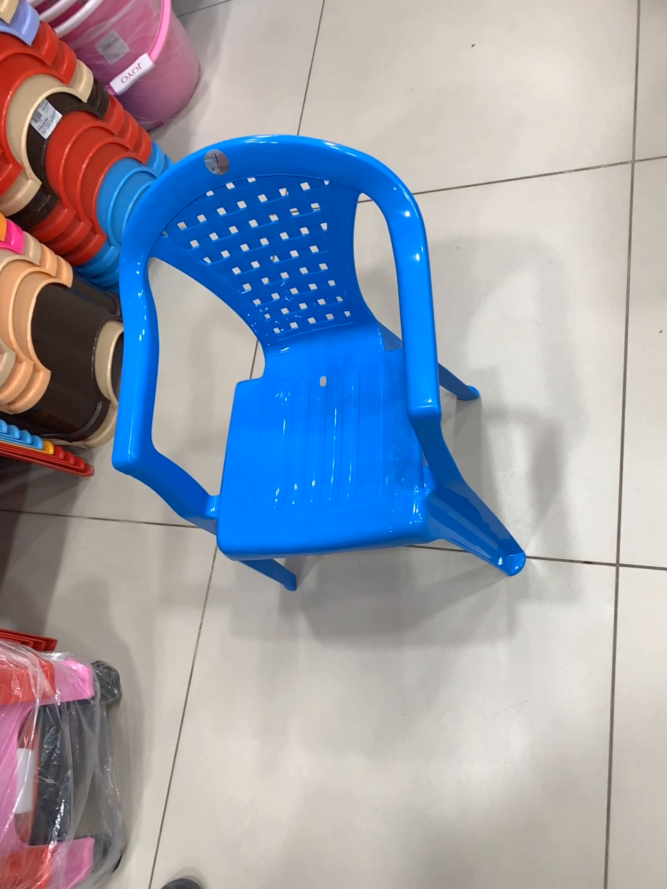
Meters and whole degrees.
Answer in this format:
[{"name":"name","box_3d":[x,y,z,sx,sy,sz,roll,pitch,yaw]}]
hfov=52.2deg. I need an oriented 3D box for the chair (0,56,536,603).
[{"name":"chair","box_3d":[-0.021,-0.035,0.748,0.371,0.498,0.340,-8,68,23]}]
